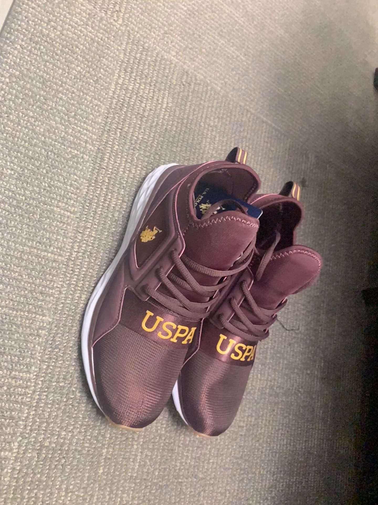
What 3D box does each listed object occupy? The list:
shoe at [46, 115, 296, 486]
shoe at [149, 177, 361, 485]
[{"bbox_3d":[-0.016,0.040,0.338,0.104,0.155,0.242,21,71,-32],"label":"shoe"},{"bbox_3d":[0.067,0.073,0.391,0.104,0.149,0.241,21,71,-32],"label":"shoe"}]
